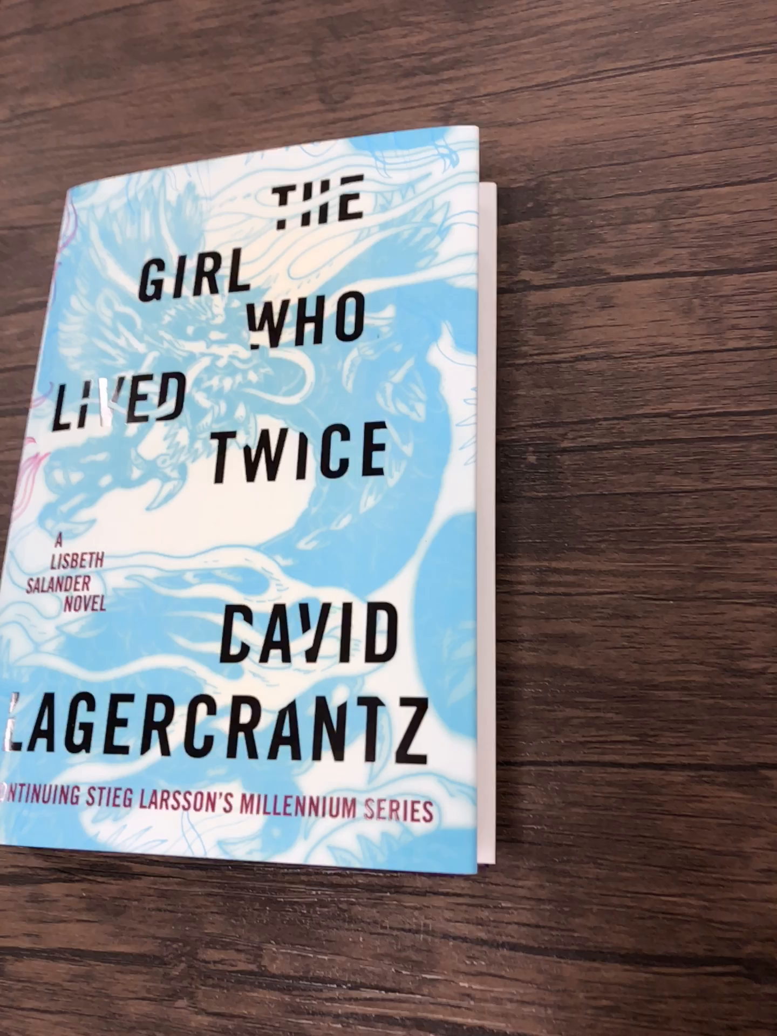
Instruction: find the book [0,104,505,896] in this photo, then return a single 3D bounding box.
[{"bbox_3d":[-0.049,-0.012,0.289,0.170,0.040,0.240,-2,72,15],"label":"book"}]
